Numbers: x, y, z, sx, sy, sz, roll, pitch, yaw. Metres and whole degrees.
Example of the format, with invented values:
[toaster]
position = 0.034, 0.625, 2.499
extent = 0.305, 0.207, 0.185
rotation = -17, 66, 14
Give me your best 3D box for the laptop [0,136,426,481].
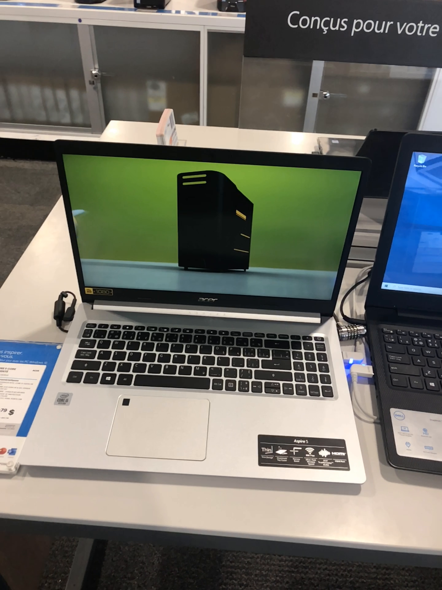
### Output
[laptop]
position = -0.024, 0.003, 0.528
extent = 0.349, 0.229, 0.268
rotation = 3, 41, 2
